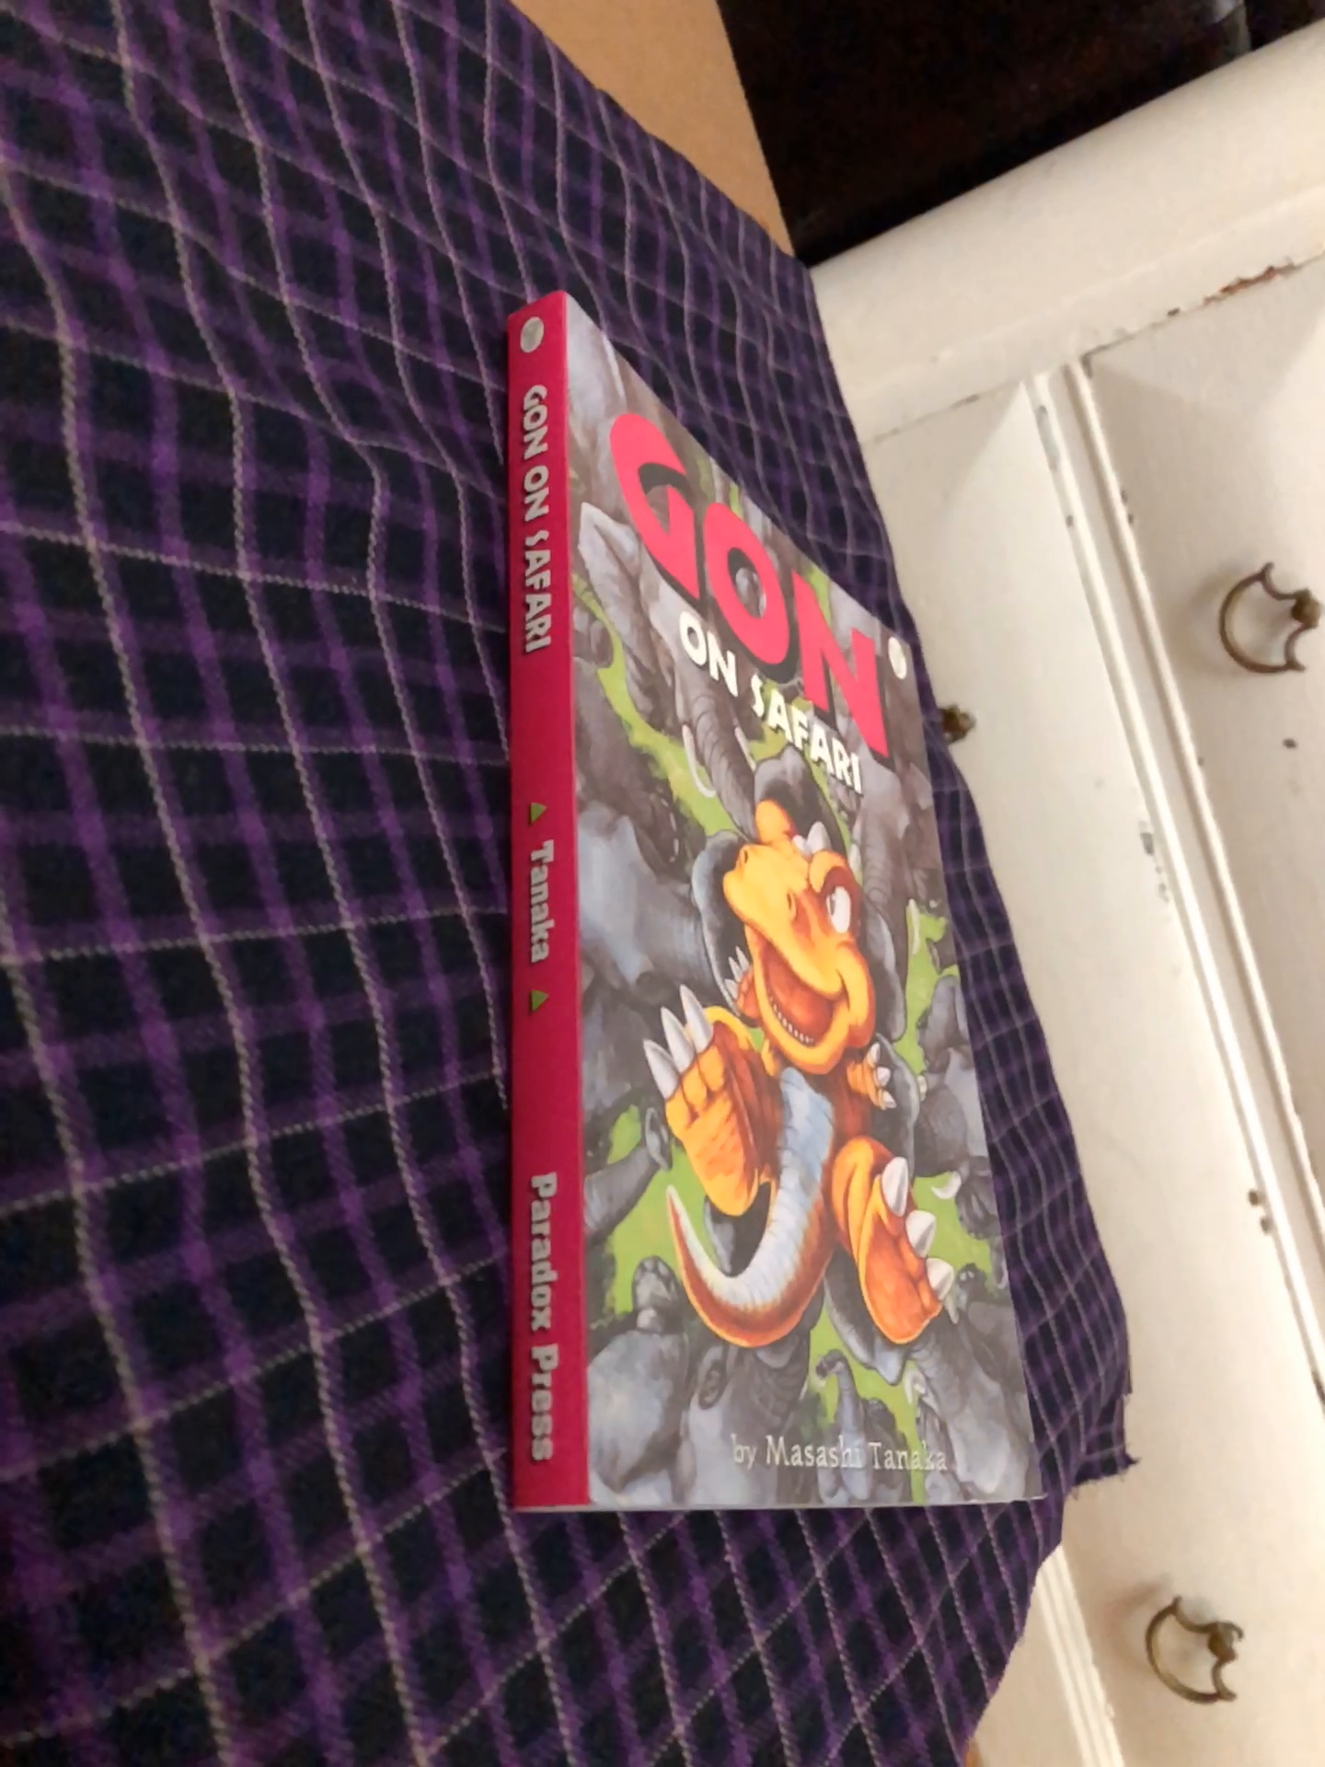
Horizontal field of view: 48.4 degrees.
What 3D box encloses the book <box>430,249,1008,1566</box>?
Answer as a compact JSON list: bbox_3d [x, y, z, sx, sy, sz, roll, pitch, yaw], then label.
[{"bbox_3d":[0.015,0.011,0.279,0.151,0.020,0.210,32,48,-51],"label":"book"}]
